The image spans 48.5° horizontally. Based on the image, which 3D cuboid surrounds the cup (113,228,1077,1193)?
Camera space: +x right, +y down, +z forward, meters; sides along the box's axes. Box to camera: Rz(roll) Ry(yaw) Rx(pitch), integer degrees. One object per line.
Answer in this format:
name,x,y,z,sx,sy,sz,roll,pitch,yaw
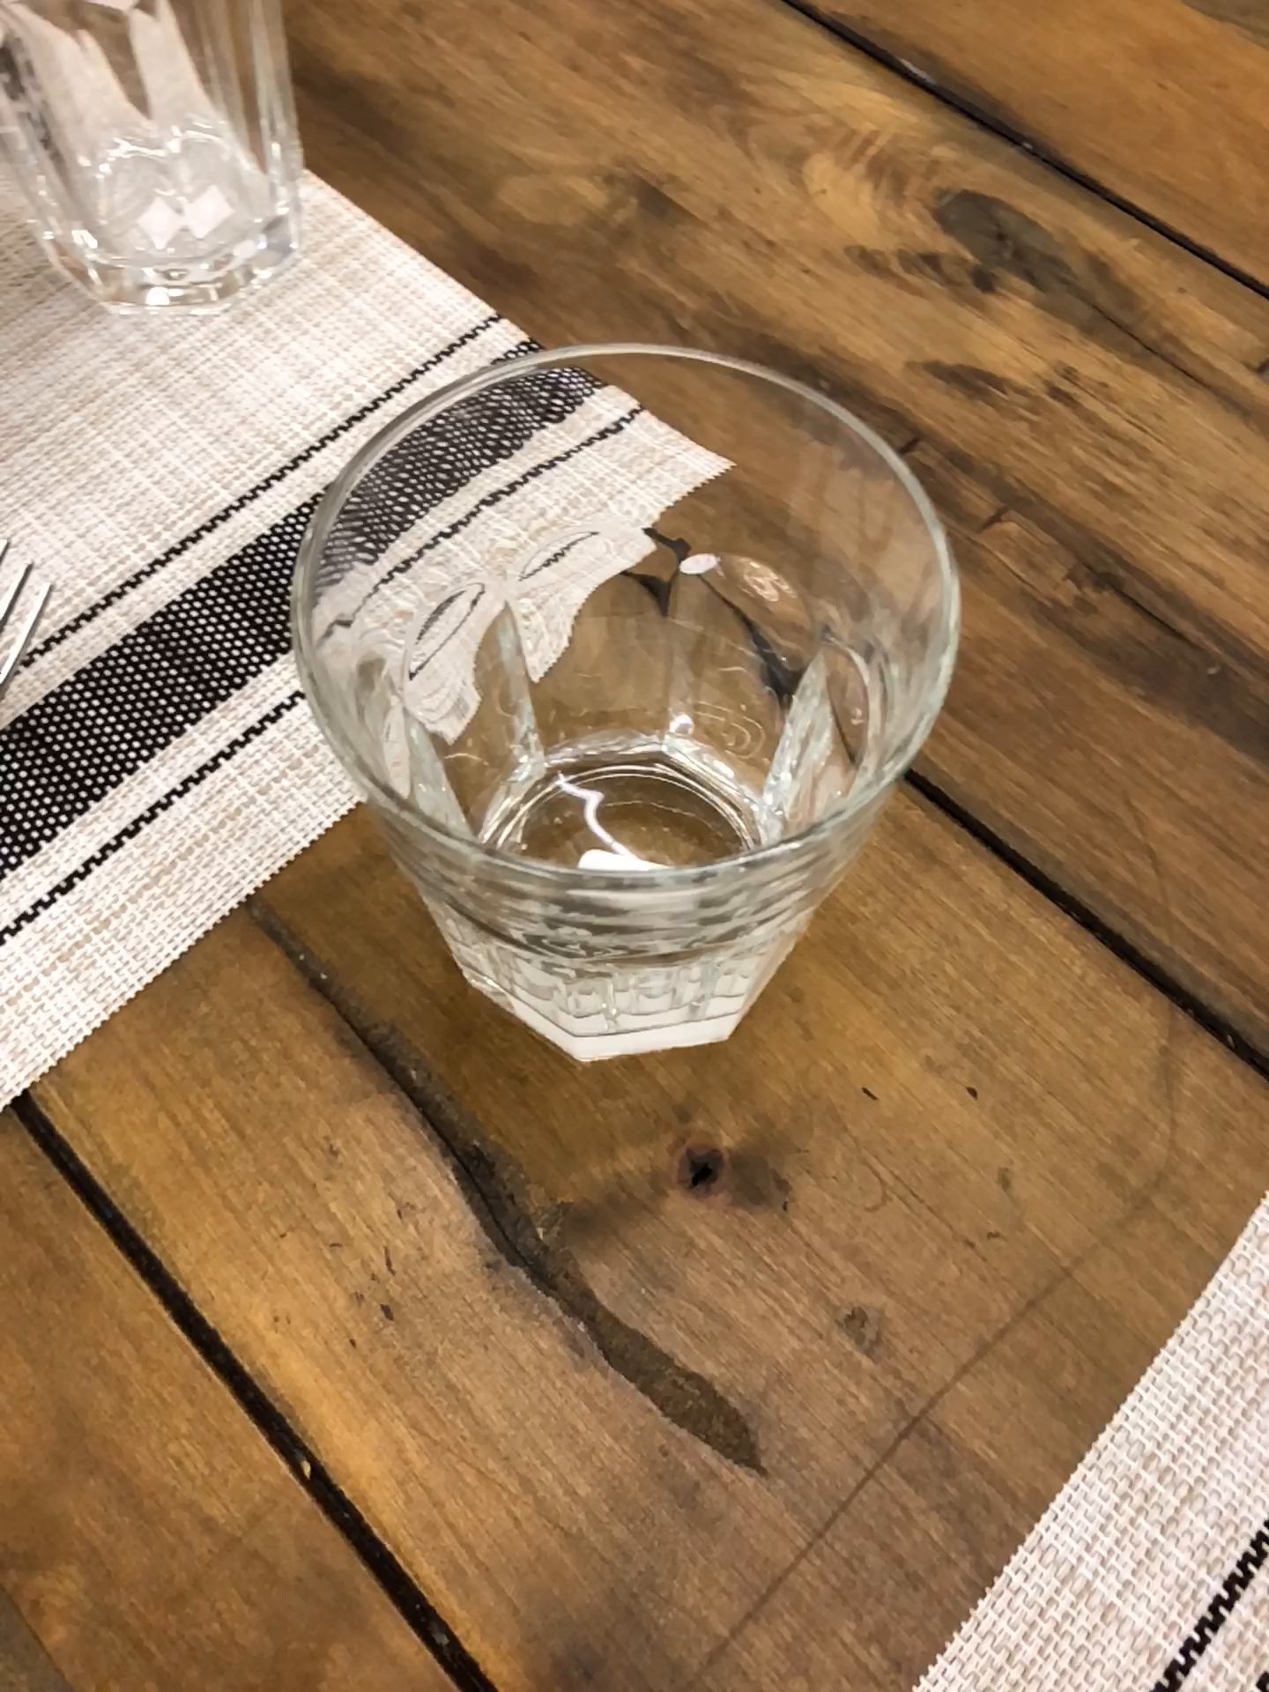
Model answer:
cup,-0.007,-0.018,0.214,0.090,0.081,0.087,0,62,0
